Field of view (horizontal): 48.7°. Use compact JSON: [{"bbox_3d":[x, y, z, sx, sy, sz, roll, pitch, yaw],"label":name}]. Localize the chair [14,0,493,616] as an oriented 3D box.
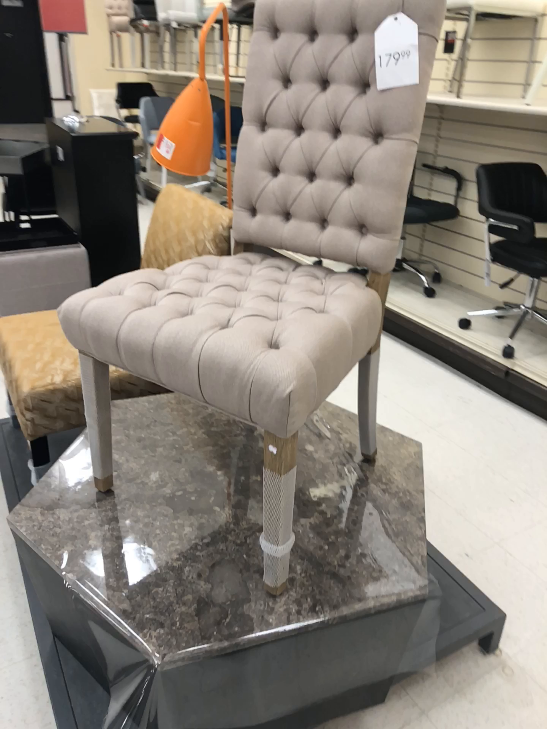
[{"bbox_3d":[-0.024,-0.188,1.243,0.571,1.046,0.581,19,31,31],"label":"chair"}]
